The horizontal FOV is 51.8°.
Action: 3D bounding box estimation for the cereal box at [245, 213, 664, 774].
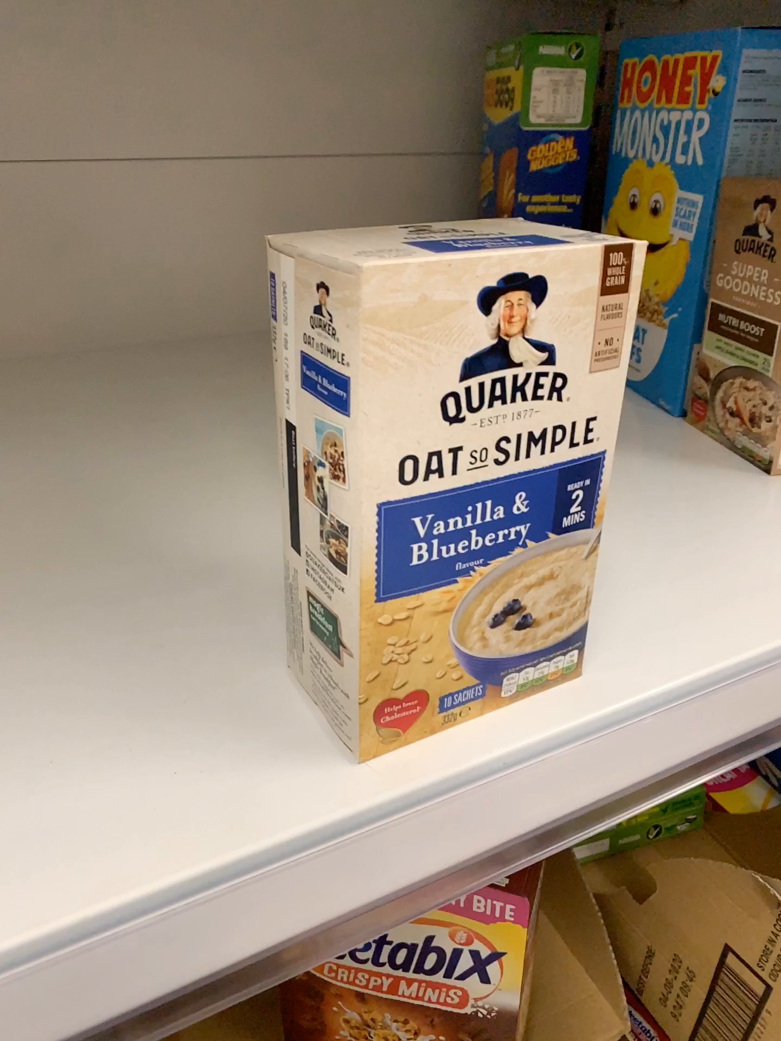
[{"bbox_3d":[0.023,-0.018,0.355,0.140,0.208,0.080,-14,30,-27],"label":"cereal box"}]
